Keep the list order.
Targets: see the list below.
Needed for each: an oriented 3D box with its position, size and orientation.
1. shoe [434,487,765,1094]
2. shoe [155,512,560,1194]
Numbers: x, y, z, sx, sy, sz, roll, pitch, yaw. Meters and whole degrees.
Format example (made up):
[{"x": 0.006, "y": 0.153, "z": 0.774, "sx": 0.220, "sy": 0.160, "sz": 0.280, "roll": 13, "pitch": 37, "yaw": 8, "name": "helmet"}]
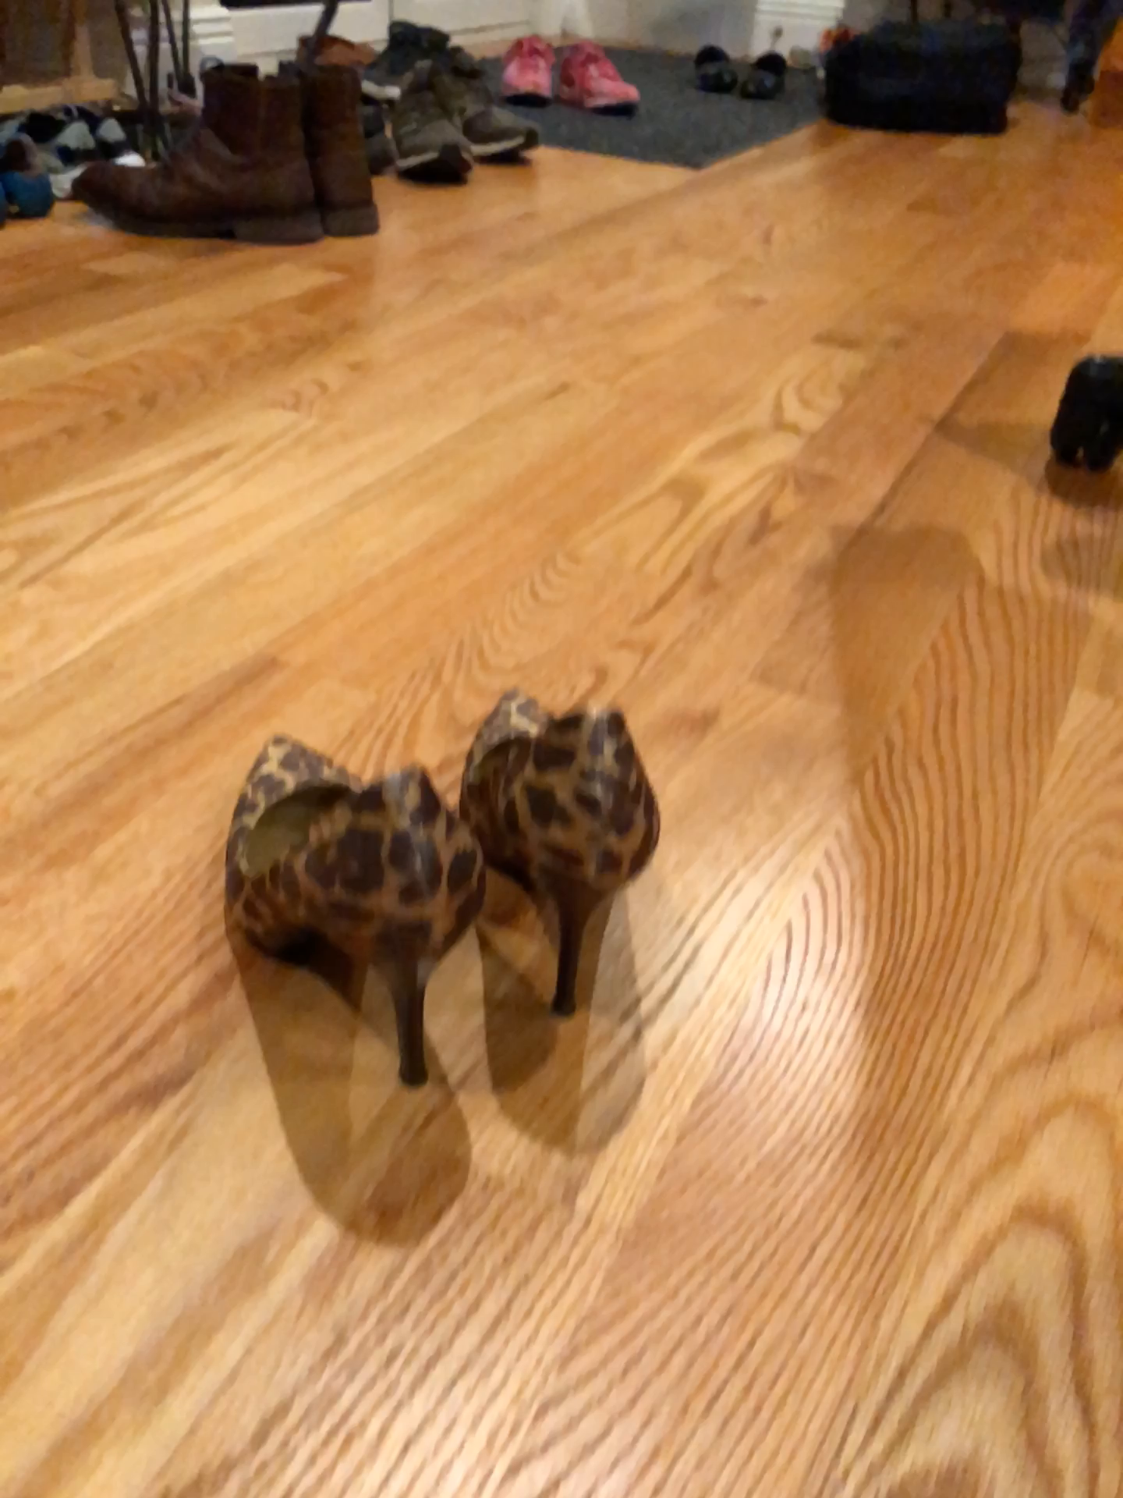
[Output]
[{"x": 0.000, "y": 0.004, "z": 0.513, "sx": 0.083, "sy": 0.144, "sz": 0.219, "roll": -3, "pitch": 35, "yaw": -10, "name": "shoe"}, {"x": -0.086, "y": 0.024, "z": 0.475, "sx": 0.084, "sy": 0.144, "sz": 0.219, "roll": -12, "pitch": 37, "yaw": -21, "name": "shoe"}]
